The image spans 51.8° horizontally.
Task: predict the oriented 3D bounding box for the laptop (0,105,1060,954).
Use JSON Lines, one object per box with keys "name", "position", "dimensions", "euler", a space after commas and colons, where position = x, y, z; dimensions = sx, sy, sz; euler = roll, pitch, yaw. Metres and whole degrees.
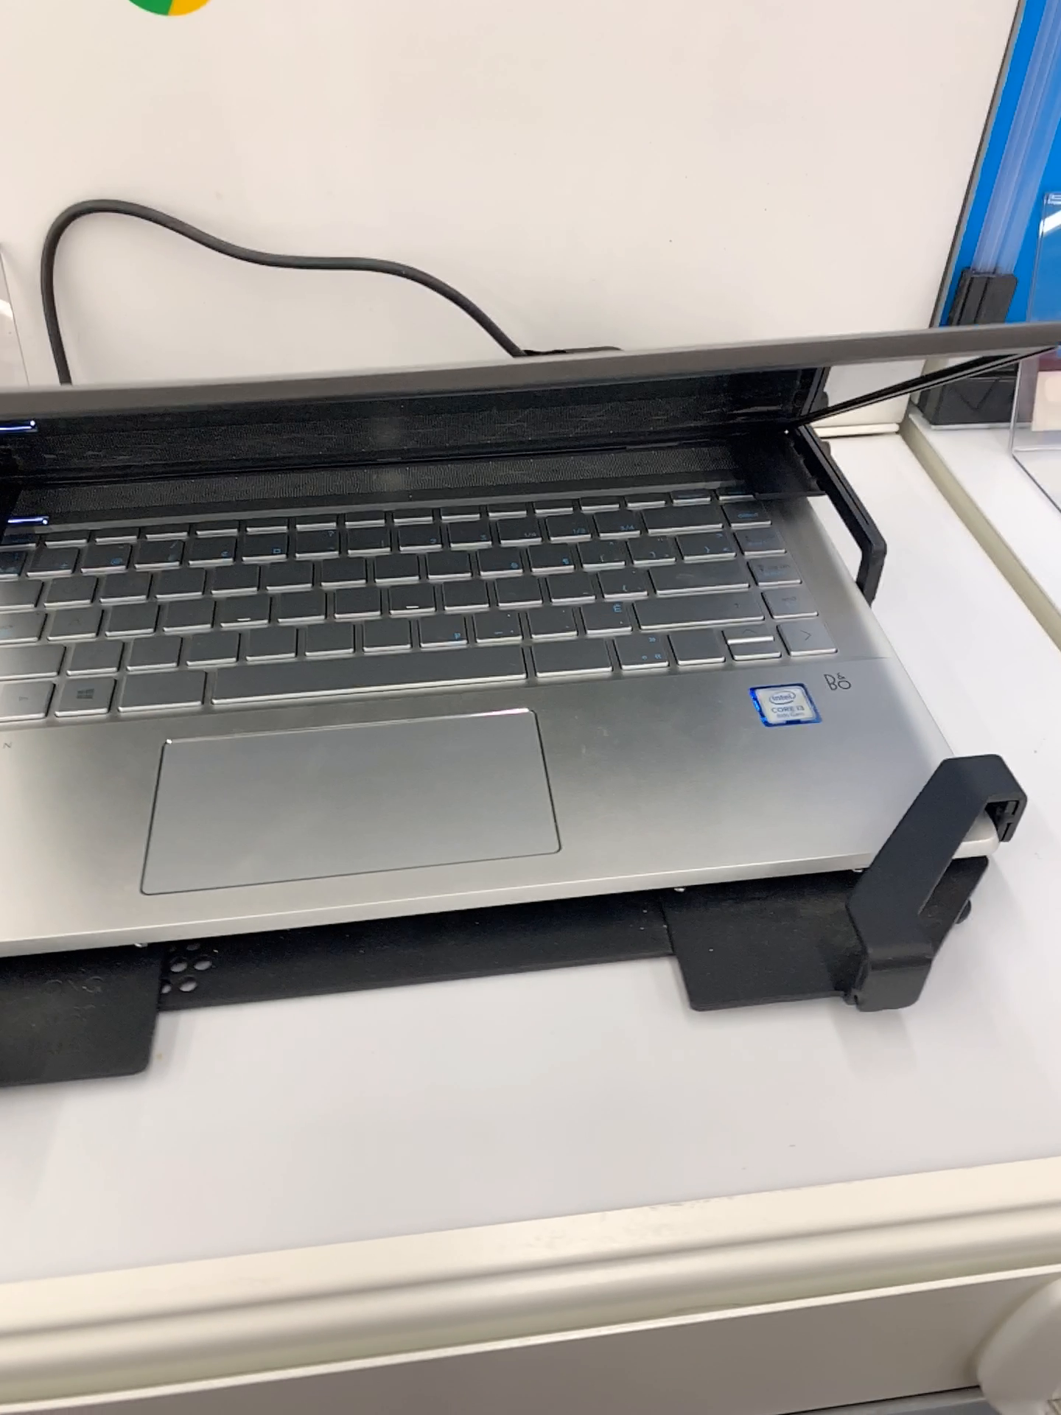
{"name": "laptop", "position": [-0.041, -0.062, 0.291], "dimensions": [0.283, 0.111, 0.194], "euler": [-5, 44, -3]}
